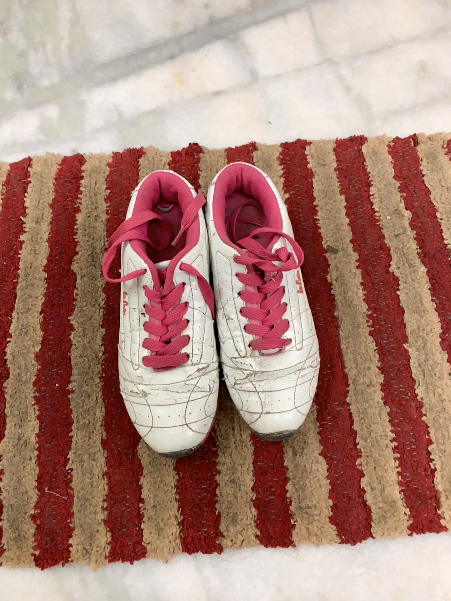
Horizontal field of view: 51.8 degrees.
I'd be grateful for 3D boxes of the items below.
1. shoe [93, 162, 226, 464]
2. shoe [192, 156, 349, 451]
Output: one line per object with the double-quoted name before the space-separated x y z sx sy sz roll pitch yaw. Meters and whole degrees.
"shoe" -0.055 0.013 0.408 0.090 0.100 0.241 -5 69 -1
"shoe" 0.030 0.004 0.420 0.100 0.100 0.241 -5 69 -1
